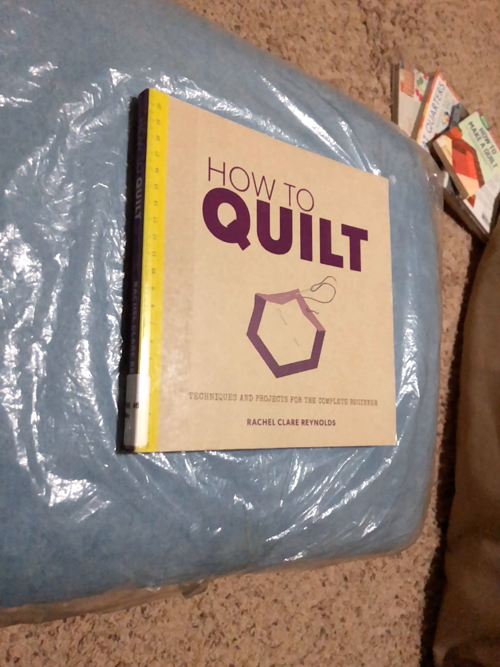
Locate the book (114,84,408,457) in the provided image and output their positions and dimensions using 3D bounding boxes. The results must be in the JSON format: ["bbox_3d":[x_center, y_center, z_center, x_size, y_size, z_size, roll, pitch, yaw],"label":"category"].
[{"bbox_3d":[0.023,-0.025,0.349,0.208,0.020,0.194,7,80,-35],"label":"book"}]
